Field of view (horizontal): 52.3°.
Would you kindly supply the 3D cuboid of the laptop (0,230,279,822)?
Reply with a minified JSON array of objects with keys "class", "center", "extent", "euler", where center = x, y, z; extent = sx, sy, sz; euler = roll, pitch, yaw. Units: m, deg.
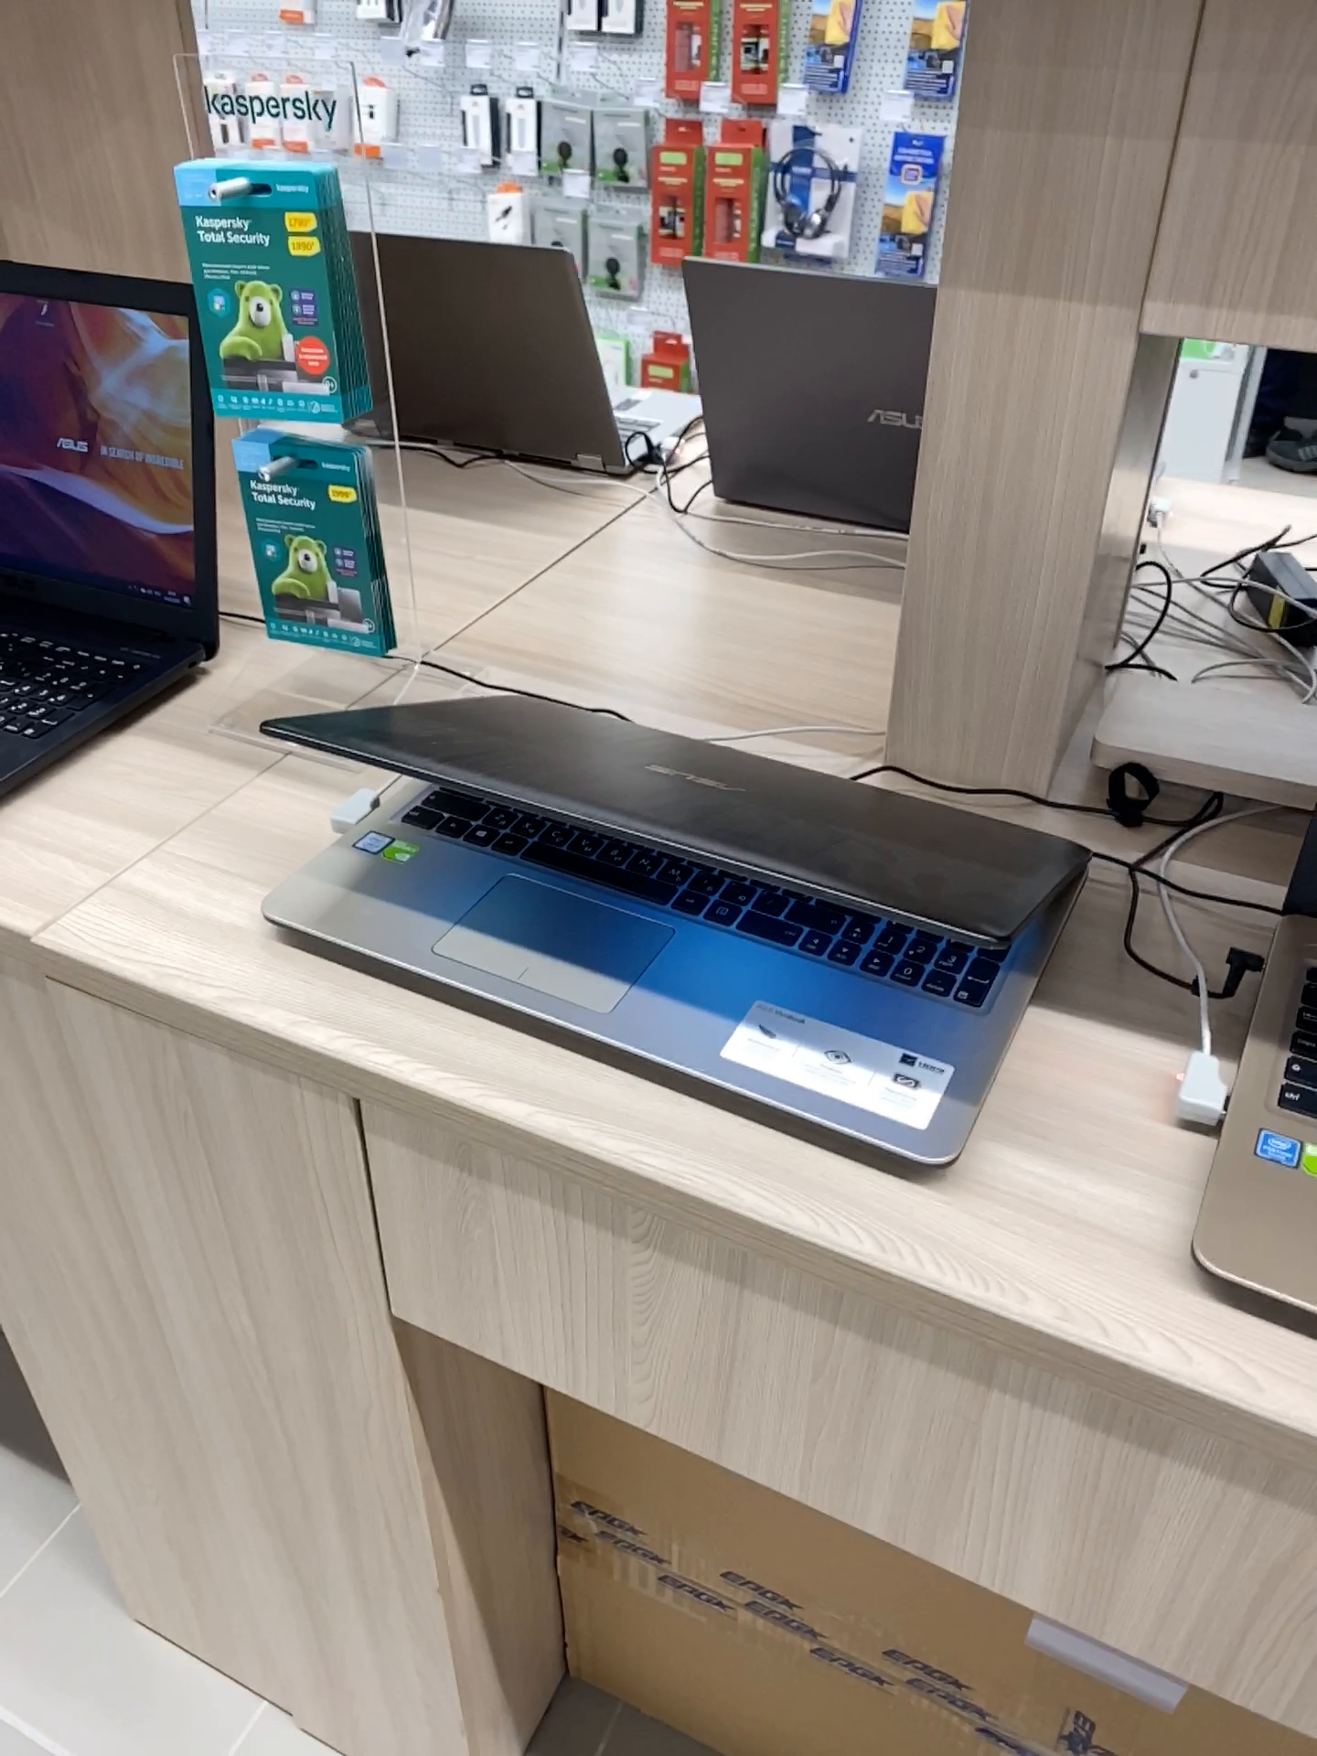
[{"class":"laptop","center":[-0.544,-0.263,0.898],"extent":[0.421,0.235,0.319],"euler":[16,38,22]}]

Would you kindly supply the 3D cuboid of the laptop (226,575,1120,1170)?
[{"class":"laptop","center":[0.011,-0.032,0.702],"extent":[0.382,0.094,0.241],"euler":[18,40,22]}]
